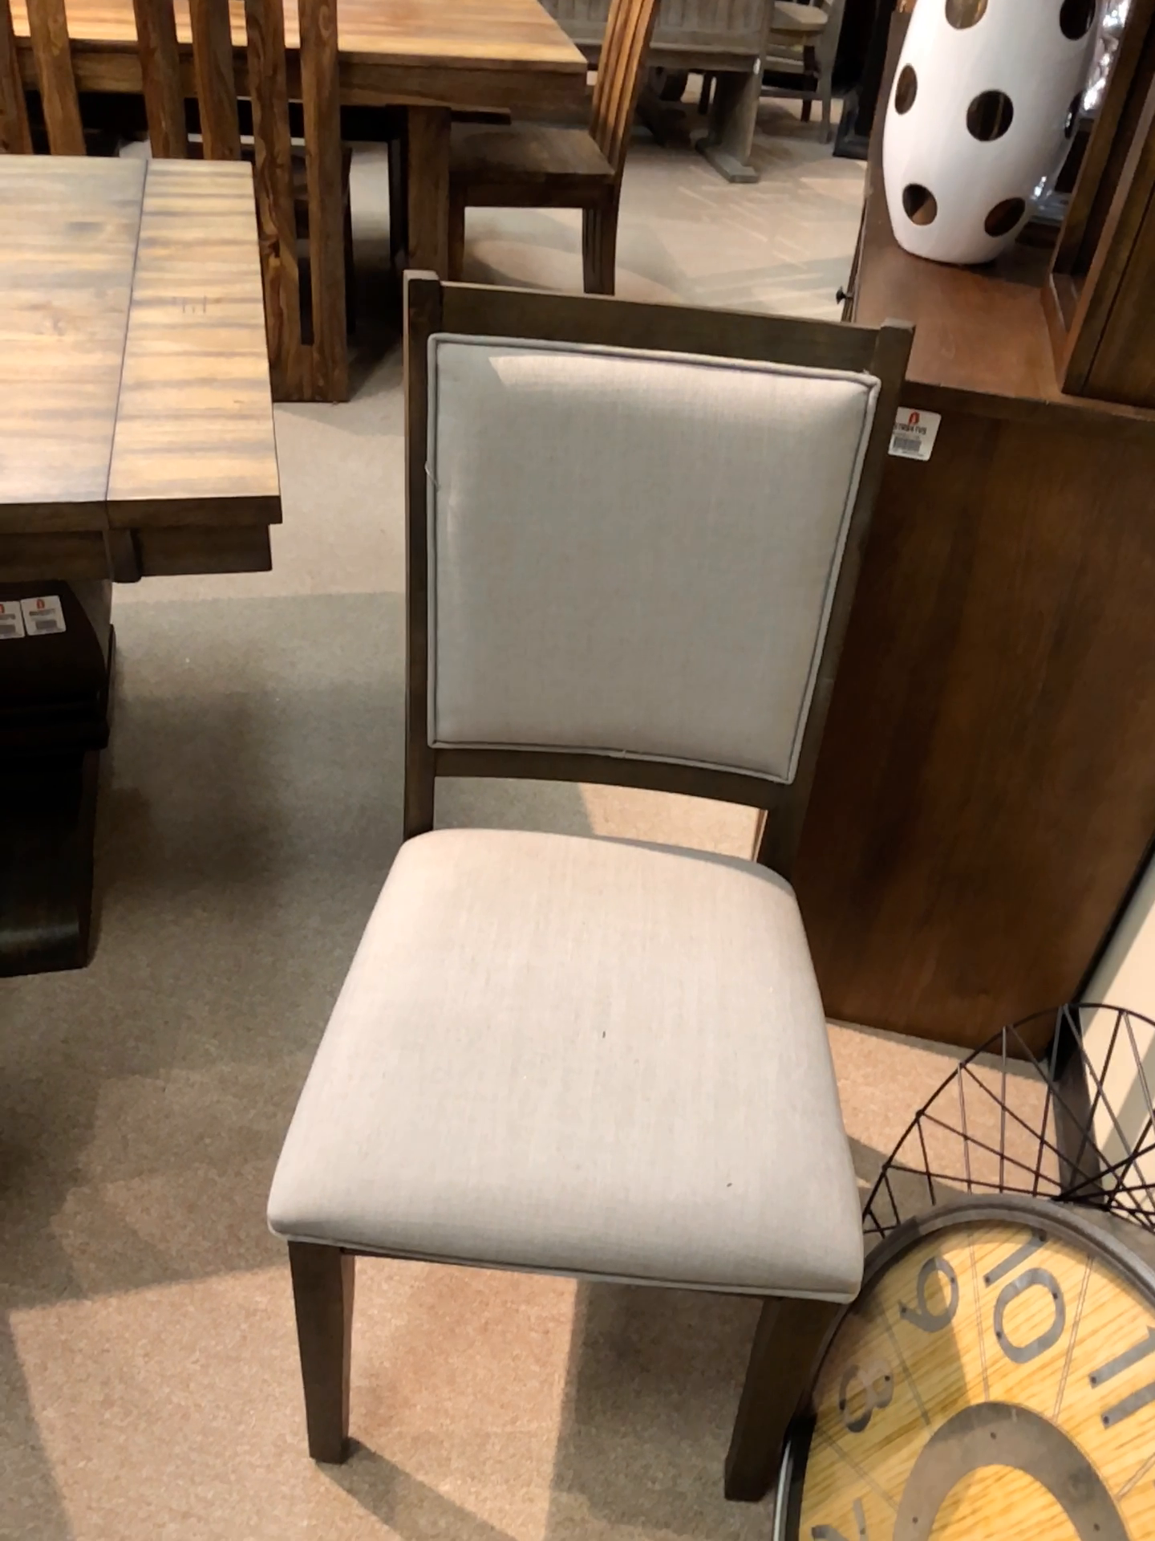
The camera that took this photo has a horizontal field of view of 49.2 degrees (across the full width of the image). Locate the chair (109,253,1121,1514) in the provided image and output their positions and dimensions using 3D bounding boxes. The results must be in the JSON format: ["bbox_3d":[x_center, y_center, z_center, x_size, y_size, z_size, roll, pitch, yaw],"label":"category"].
[{"bbox_3d":[-0.003,0.144,1.052,0.460,0.923,0.493,6,39,0],"label":"chair"}]
